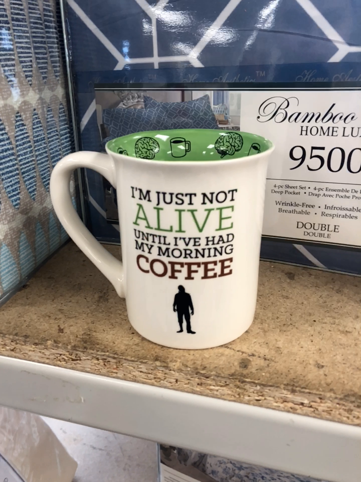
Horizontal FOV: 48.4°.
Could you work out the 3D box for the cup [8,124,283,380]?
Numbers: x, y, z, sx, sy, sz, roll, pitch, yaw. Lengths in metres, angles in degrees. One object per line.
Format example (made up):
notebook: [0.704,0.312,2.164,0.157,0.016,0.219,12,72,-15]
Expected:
cup: [-0.011,-0.005,0.264,0.138,0.124,0.100,6,24,15]
